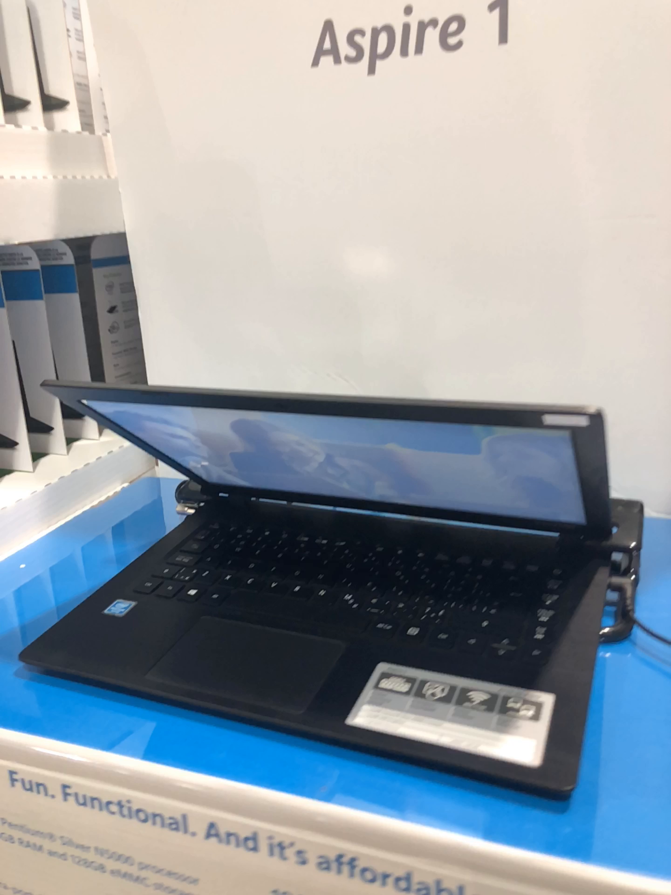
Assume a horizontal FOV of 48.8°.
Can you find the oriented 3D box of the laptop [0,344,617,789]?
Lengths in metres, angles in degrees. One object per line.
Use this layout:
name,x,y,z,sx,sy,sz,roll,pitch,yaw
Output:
laptop,-0.008,0.035,0.473,0.333,0.145,0.206,4,22,24
